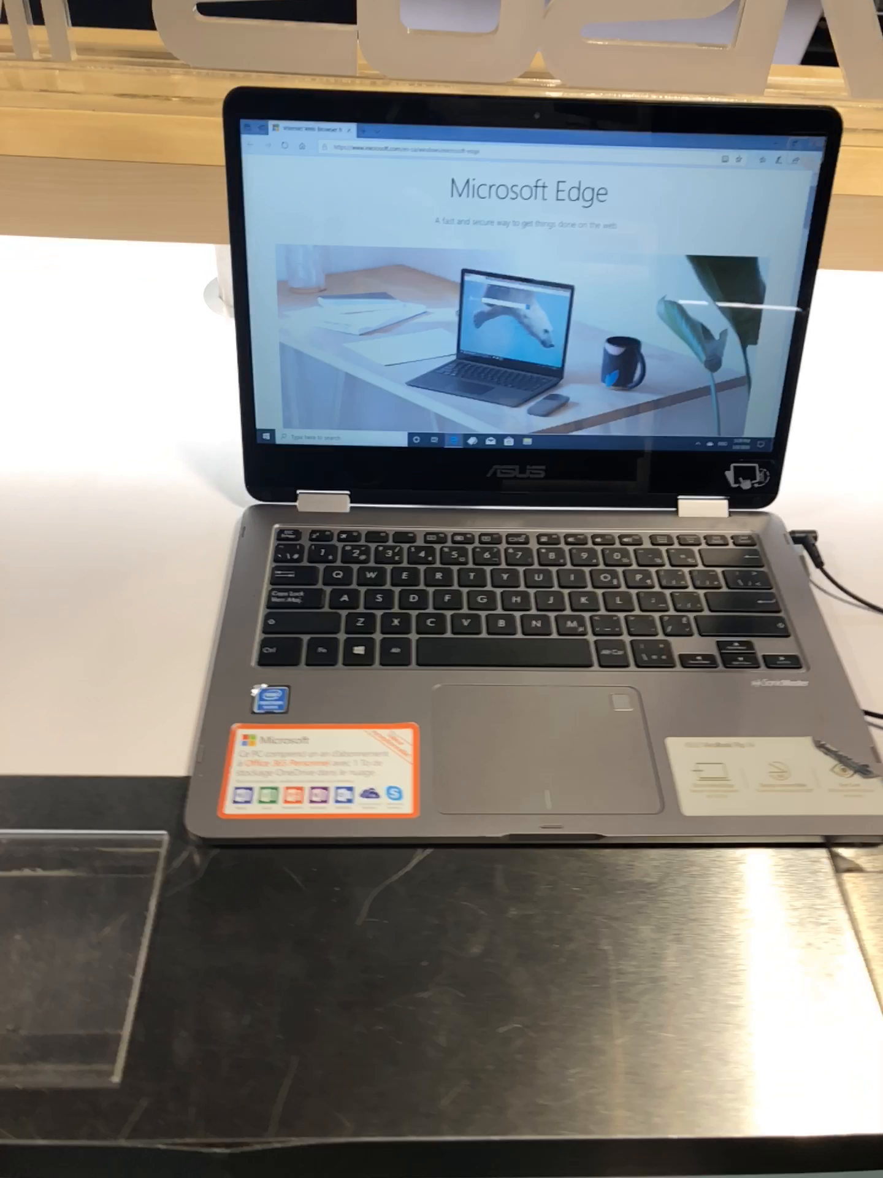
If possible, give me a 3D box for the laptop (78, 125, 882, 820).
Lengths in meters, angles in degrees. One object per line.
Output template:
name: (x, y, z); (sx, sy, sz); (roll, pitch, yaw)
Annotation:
laptop: (0.042, -0.067, 0.453); (0.304, 0.212, 0.279); (0, 41, -1)
